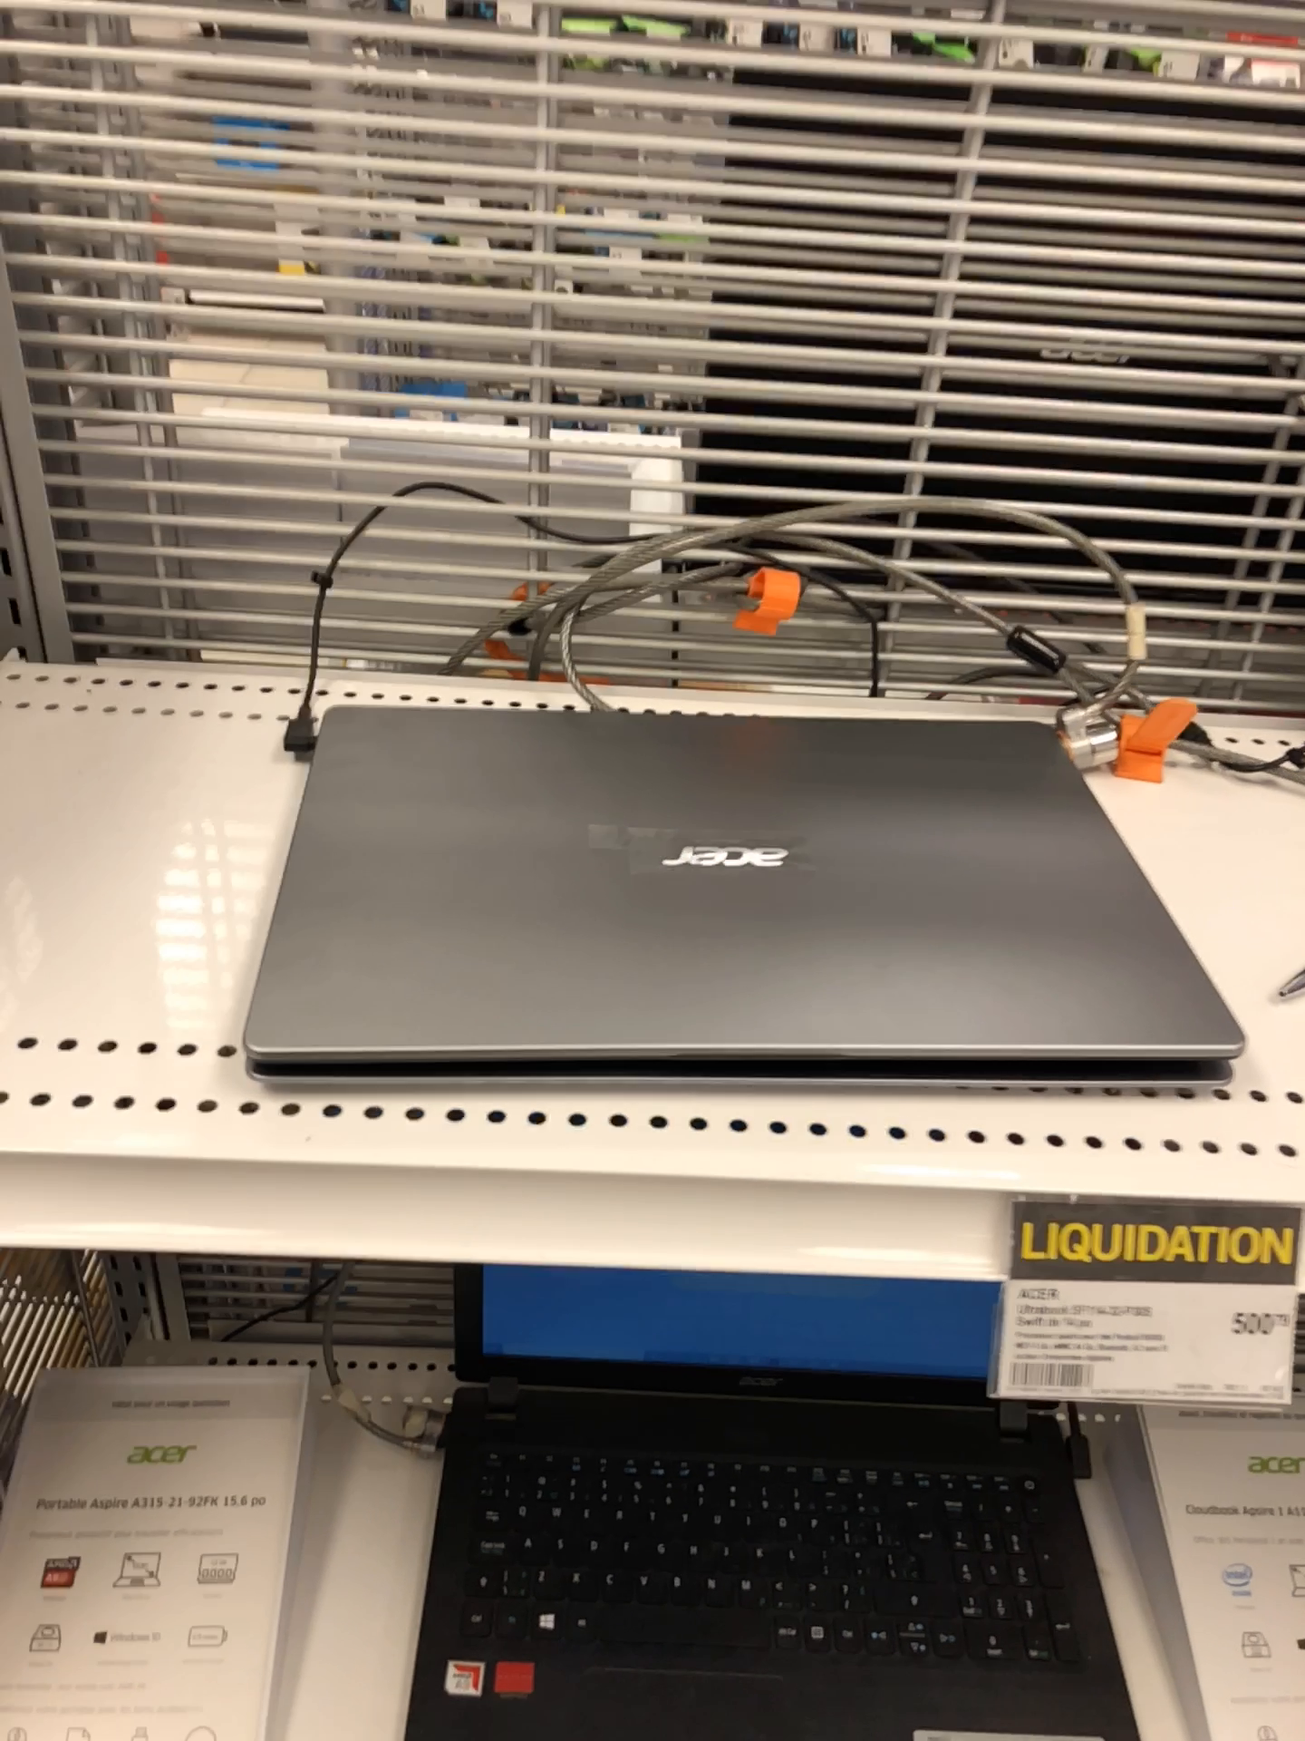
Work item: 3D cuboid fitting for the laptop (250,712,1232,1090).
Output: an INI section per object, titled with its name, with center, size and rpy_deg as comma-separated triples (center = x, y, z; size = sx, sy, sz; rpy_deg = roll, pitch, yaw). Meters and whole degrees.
[laptop]
center = 0.026, 0.002, 0.547
size = 0.315, 0.006, 0.220
rpy_deg = 1, 36, -5
